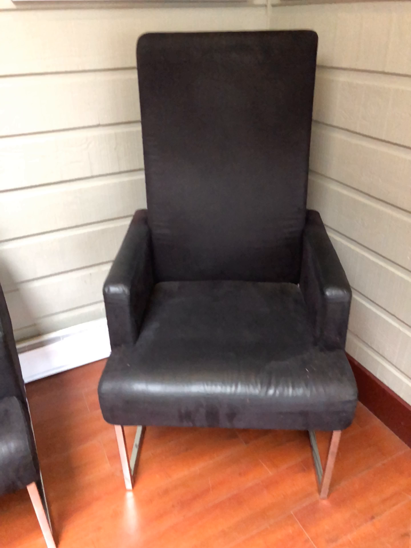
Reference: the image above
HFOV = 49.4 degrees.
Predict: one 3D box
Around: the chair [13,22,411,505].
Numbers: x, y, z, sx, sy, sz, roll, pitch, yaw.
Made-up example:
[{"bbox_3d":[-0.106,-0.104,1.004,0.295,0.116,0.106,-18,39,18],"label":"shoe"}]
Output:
[{"bbox_3d":[0.059,-0.051,1.213,0.630,1.083,0.705,0,29,3],"label":"chair"}]
